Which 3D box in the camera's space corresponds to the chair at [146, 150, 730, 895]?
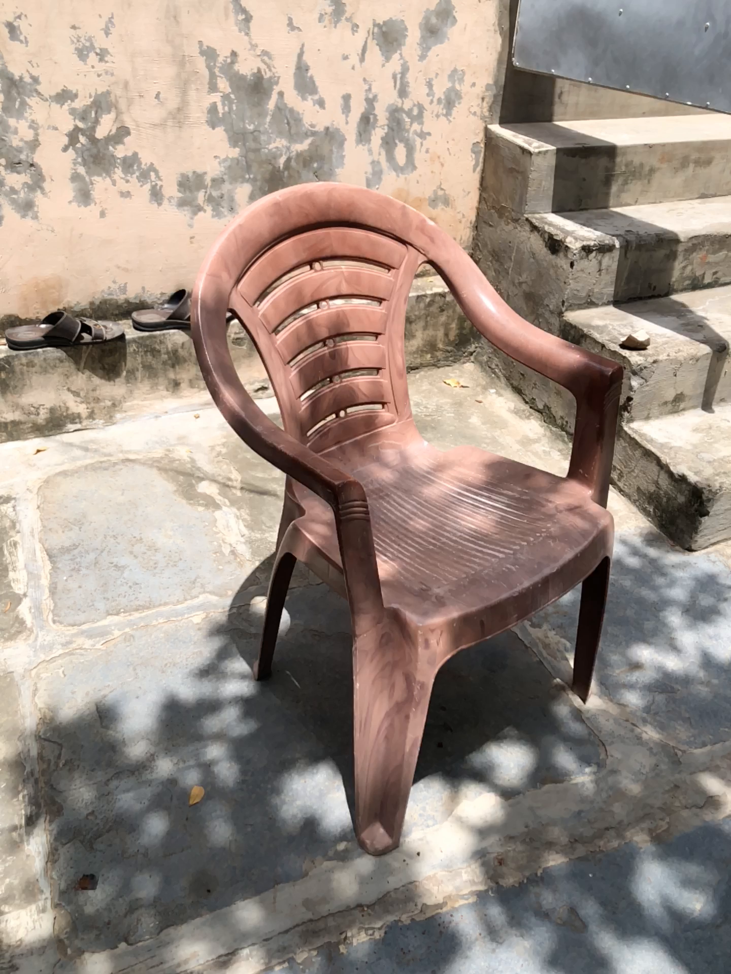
[{"bbox_3d":[0.115,0.001,1.167,0.582,0.766,0.541,-23,43,-33],"label":"chair"}]
